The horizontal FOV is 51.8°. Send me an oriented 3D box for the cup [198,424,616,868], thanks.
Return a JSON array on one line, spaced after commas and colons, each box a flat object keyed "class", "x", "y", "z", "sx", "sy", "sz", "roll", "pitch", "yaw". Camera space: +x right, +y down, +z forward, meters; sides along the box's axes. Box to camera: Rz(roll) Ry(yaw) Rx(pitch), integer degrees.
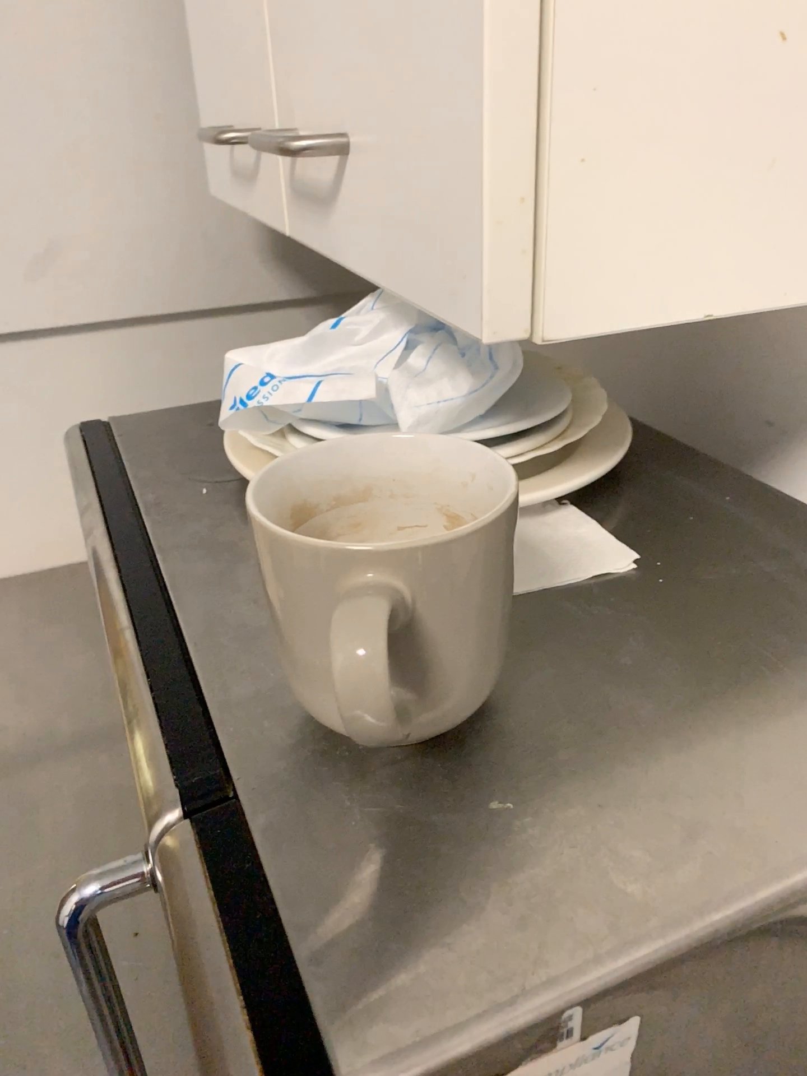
[{"class": "cup", "x": -0.003, "y": 0.024, "z": 0.272, "sx": 0.101, "sy": 0.079, "sz": 0.125, "roll": -4, "pitch": 27, "yaw": -4}]
